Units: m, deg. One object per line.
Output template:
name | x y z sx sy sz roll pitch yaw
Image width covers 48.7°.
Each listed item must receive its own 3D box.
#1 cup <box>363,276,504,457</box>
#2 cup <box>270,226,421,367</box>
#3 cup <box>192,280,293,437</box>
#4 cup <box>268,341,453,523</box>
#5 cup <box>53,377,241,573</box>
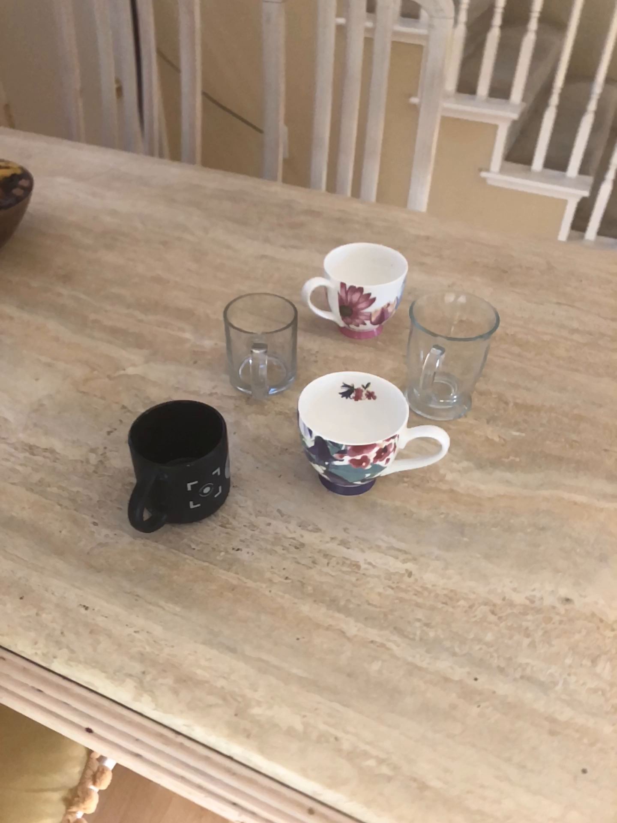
cup | 0.138 -0.053 0.755 0.100 0.119 0.141 19 44 19
cup | 0.045 -0.151 0.871 0.151 0.099 0.110 -25 48 -27
cup | -0.069 -0.062 0.778 0.090 0.119 0.131 4 42 3
cup | 0.051 0.017 0.662 0.150 0.099 0.111 12 43 12
cup | -0.146 0.056 0.651 0.100 0.089 0.141 19 44 19
